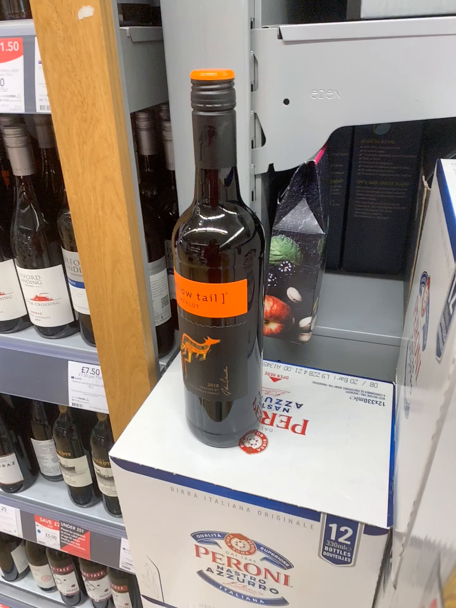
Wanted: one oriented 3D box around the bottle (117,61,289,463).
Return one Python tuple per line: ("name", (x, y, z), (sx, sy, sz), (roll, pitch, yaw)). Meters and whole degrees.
("bottle", (-0.011, -0.022, 0.369), (0.078, 0.297, 0.076), (-2, 30, 1))
